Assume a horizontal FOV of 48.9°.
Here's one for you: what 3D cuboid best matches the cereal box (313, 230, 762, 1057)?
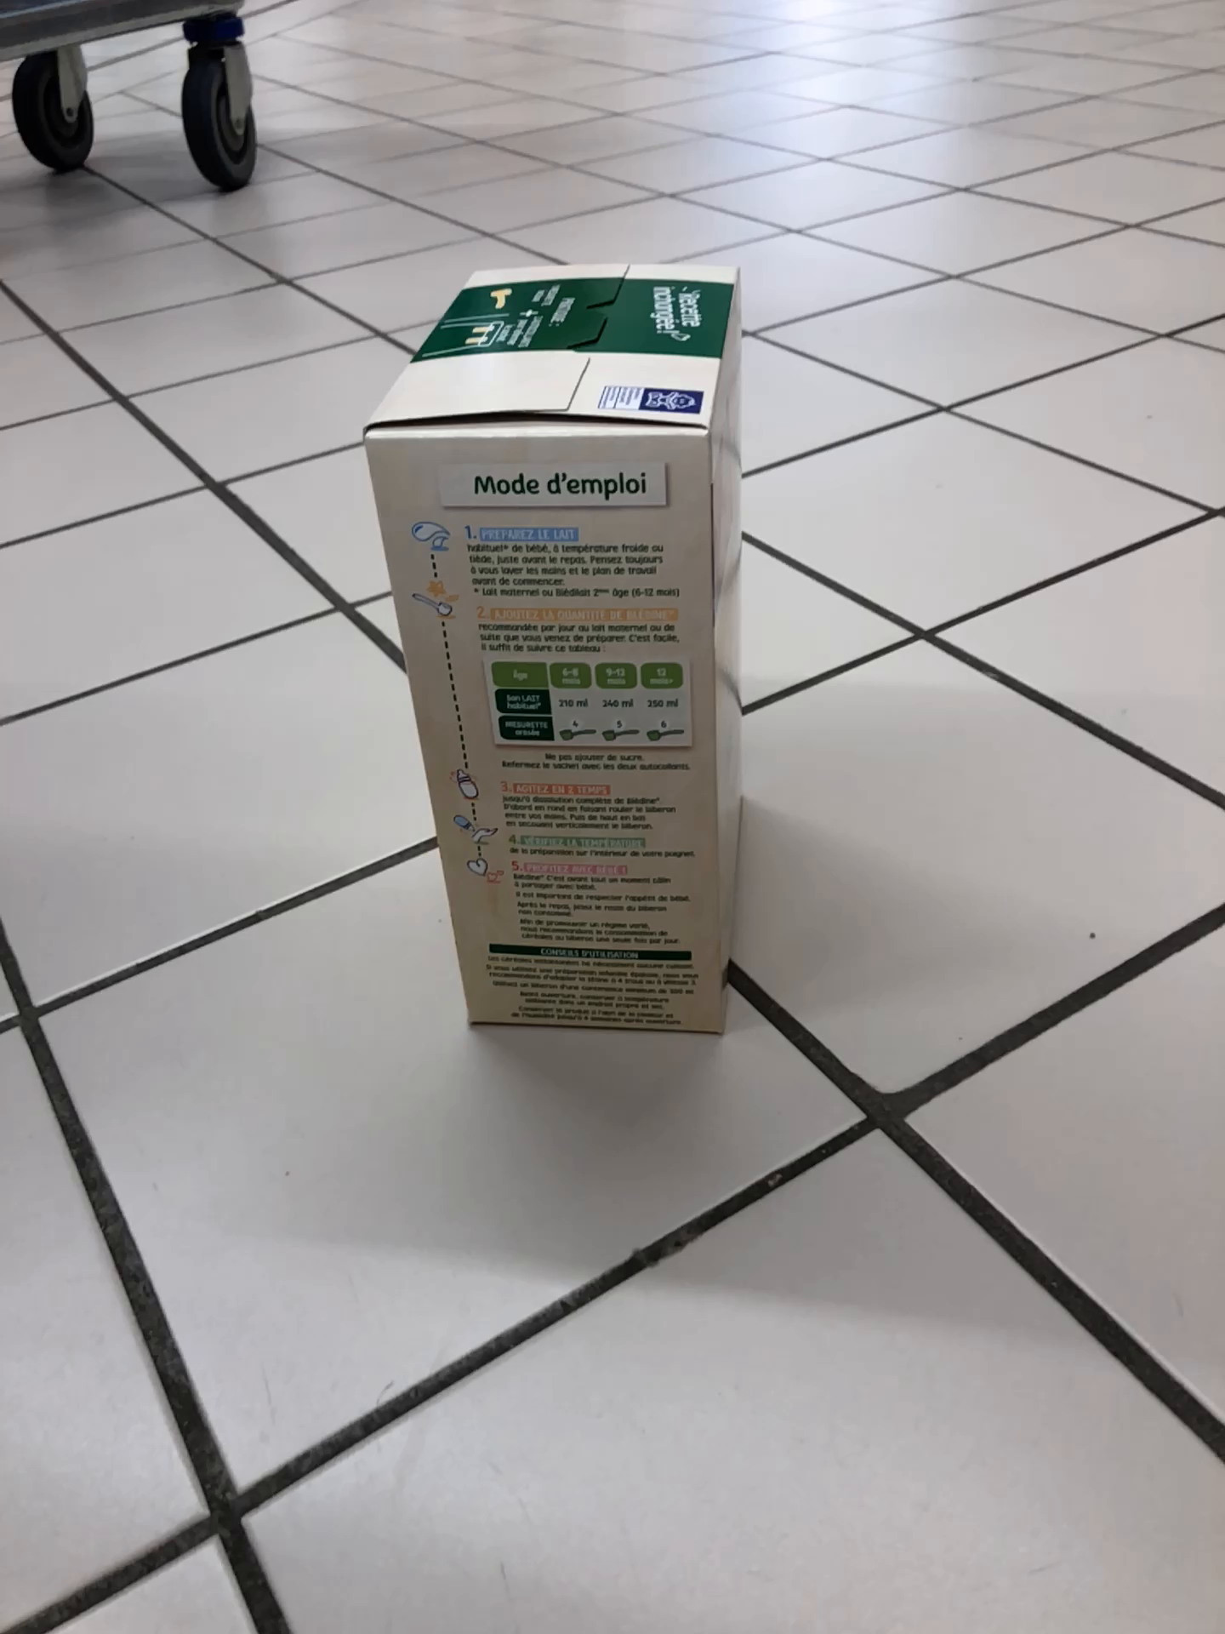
[{"bbox_3d":[-0.005,-0.049,0.397,0.090,0.199,0.131,2,37,9],"label":"cereal box"}]
